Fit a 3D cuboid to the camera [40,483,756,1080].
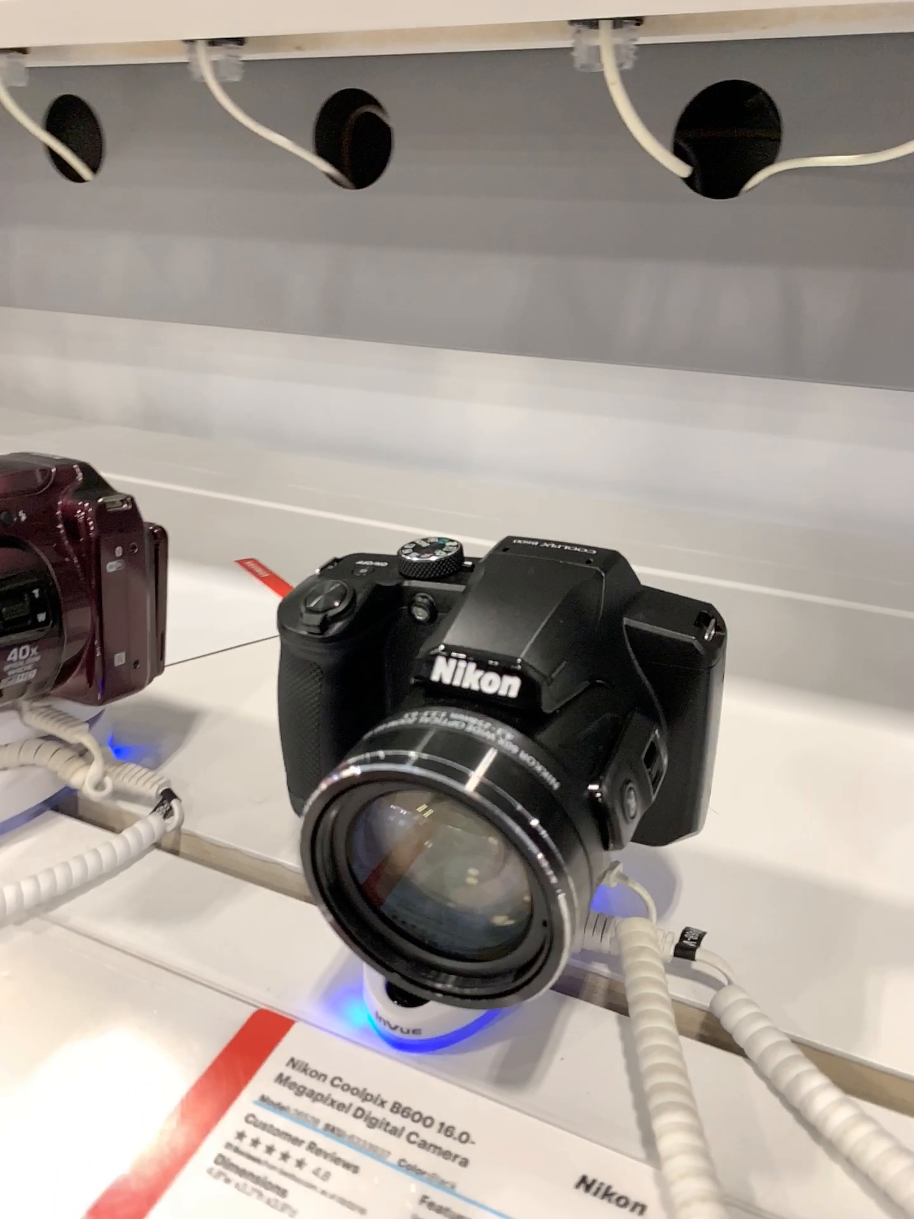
[{"bbox_3d":[-0.004,0.025,0.230,0.130,0.070,0.110,10,26,19],"label":"camera"}]
